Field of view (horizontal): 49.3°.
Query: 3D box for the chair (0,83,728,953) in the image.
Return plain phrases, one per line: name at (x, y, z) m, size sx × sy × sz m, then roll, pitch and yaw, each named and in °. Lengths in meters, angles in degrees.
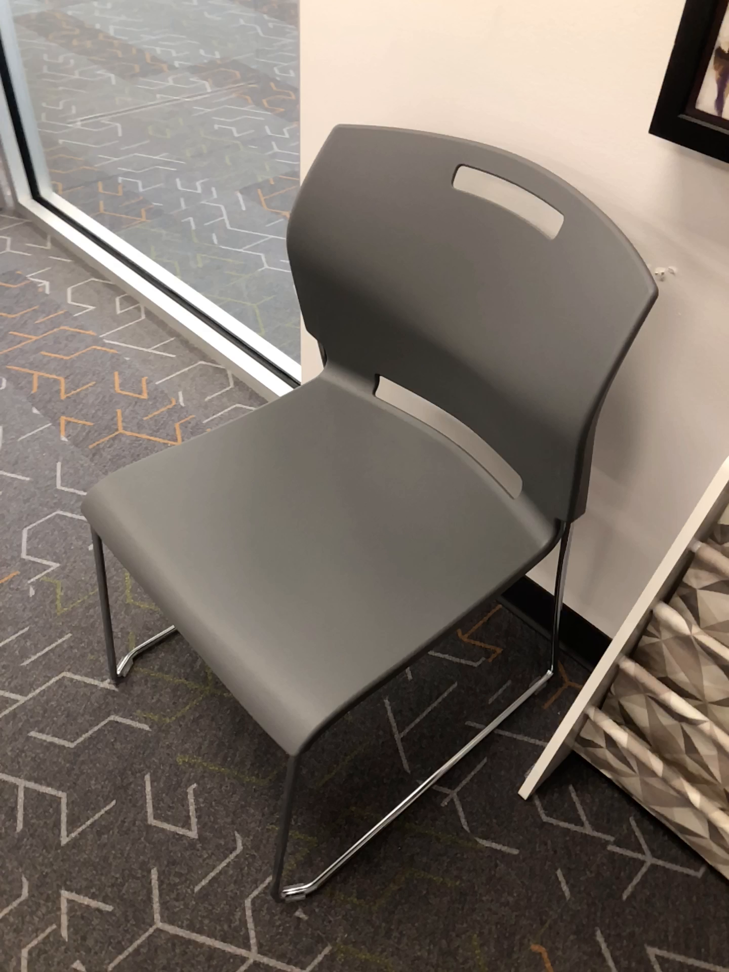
chair at (-0.030, 0.015, 1.048) m, size 0.672 × 0.735 × 0.582 m, roll -32°, pitch 56°, yaw -30°
